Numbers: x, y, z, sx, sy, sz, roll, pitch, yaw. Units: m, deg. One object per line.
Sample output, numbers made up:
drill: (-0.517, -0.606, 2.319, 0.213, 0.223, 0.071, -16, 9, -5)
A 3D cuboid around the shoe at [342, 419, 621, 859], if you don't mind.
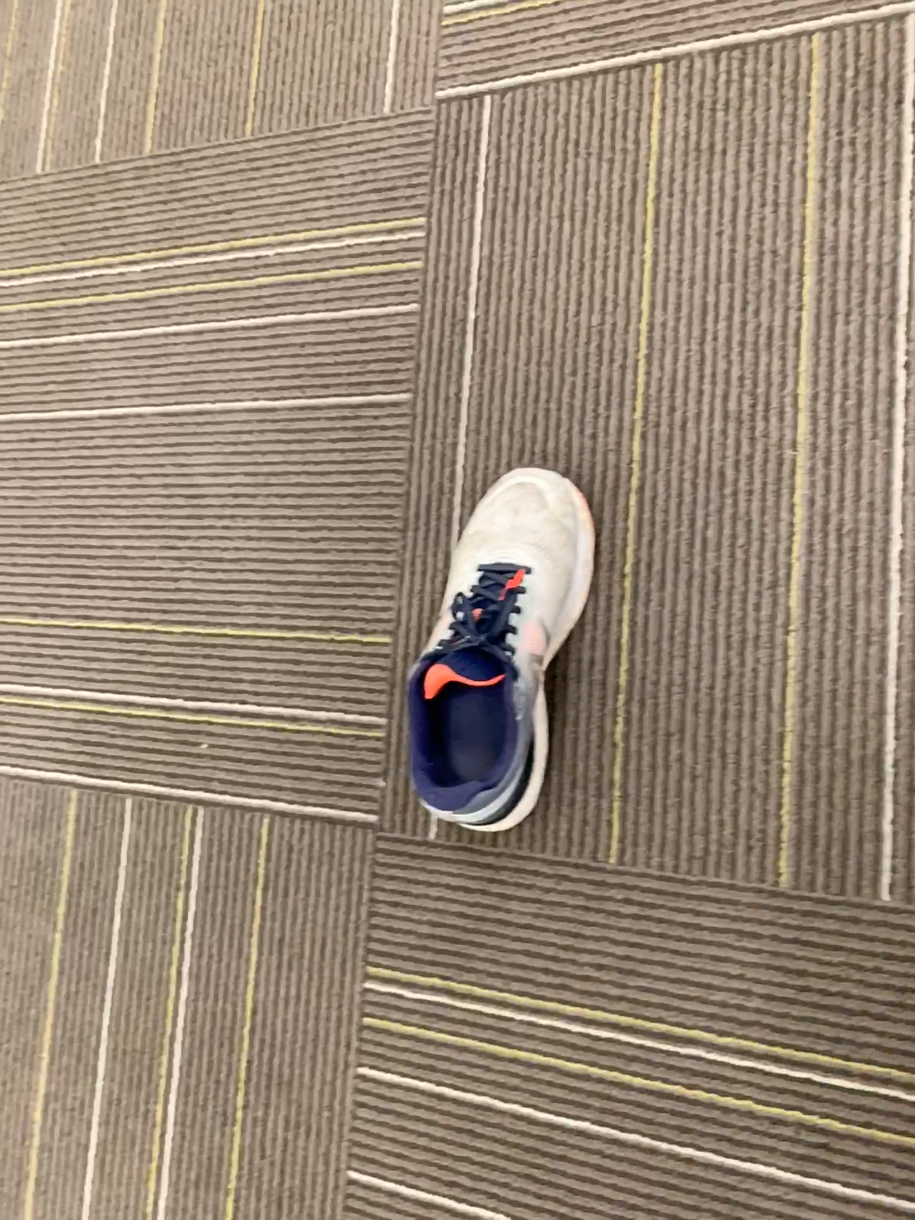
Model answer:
shoe: (0.020, 0.018, 0.695, 0.130, 0.080, 0.290, 11, 87, 23)
